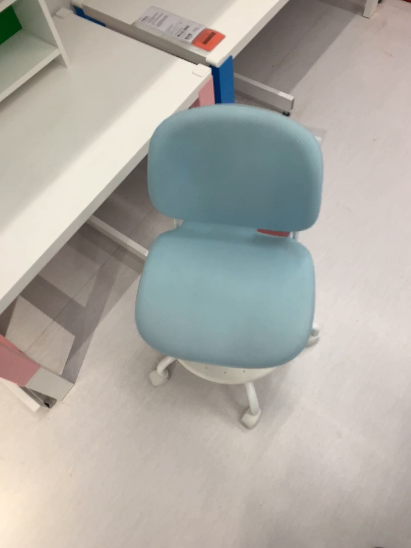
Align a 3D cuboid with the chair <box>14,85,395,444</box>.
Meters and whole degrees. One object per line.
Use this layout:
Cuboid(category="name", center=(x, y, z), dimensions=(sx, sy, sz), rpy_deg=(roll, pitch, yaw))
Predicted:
Cuboid(category="chair", center=(0.061, 0.033, 1.050), dimensions=(0.580, 0.679, 0.611), rpy_deg=(7, 65, 9))
